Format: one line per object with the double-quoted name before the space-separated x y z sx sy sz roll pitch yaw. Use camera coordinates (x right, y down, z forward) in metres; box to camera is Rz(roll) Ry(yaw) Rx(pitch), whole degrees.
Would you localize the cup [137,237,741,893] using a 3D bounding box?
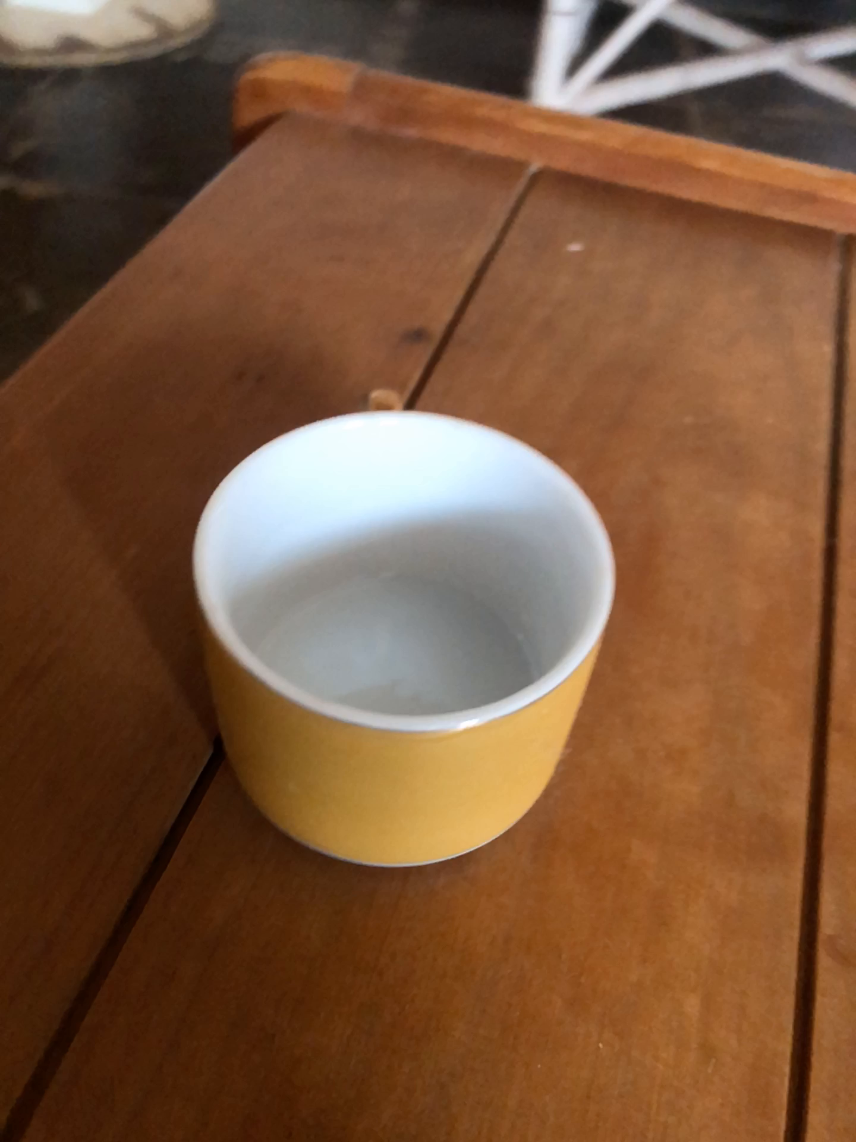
"cup" -0.006 -0.006 0.158 0.070 0.050 0.091 -5 50 -10
